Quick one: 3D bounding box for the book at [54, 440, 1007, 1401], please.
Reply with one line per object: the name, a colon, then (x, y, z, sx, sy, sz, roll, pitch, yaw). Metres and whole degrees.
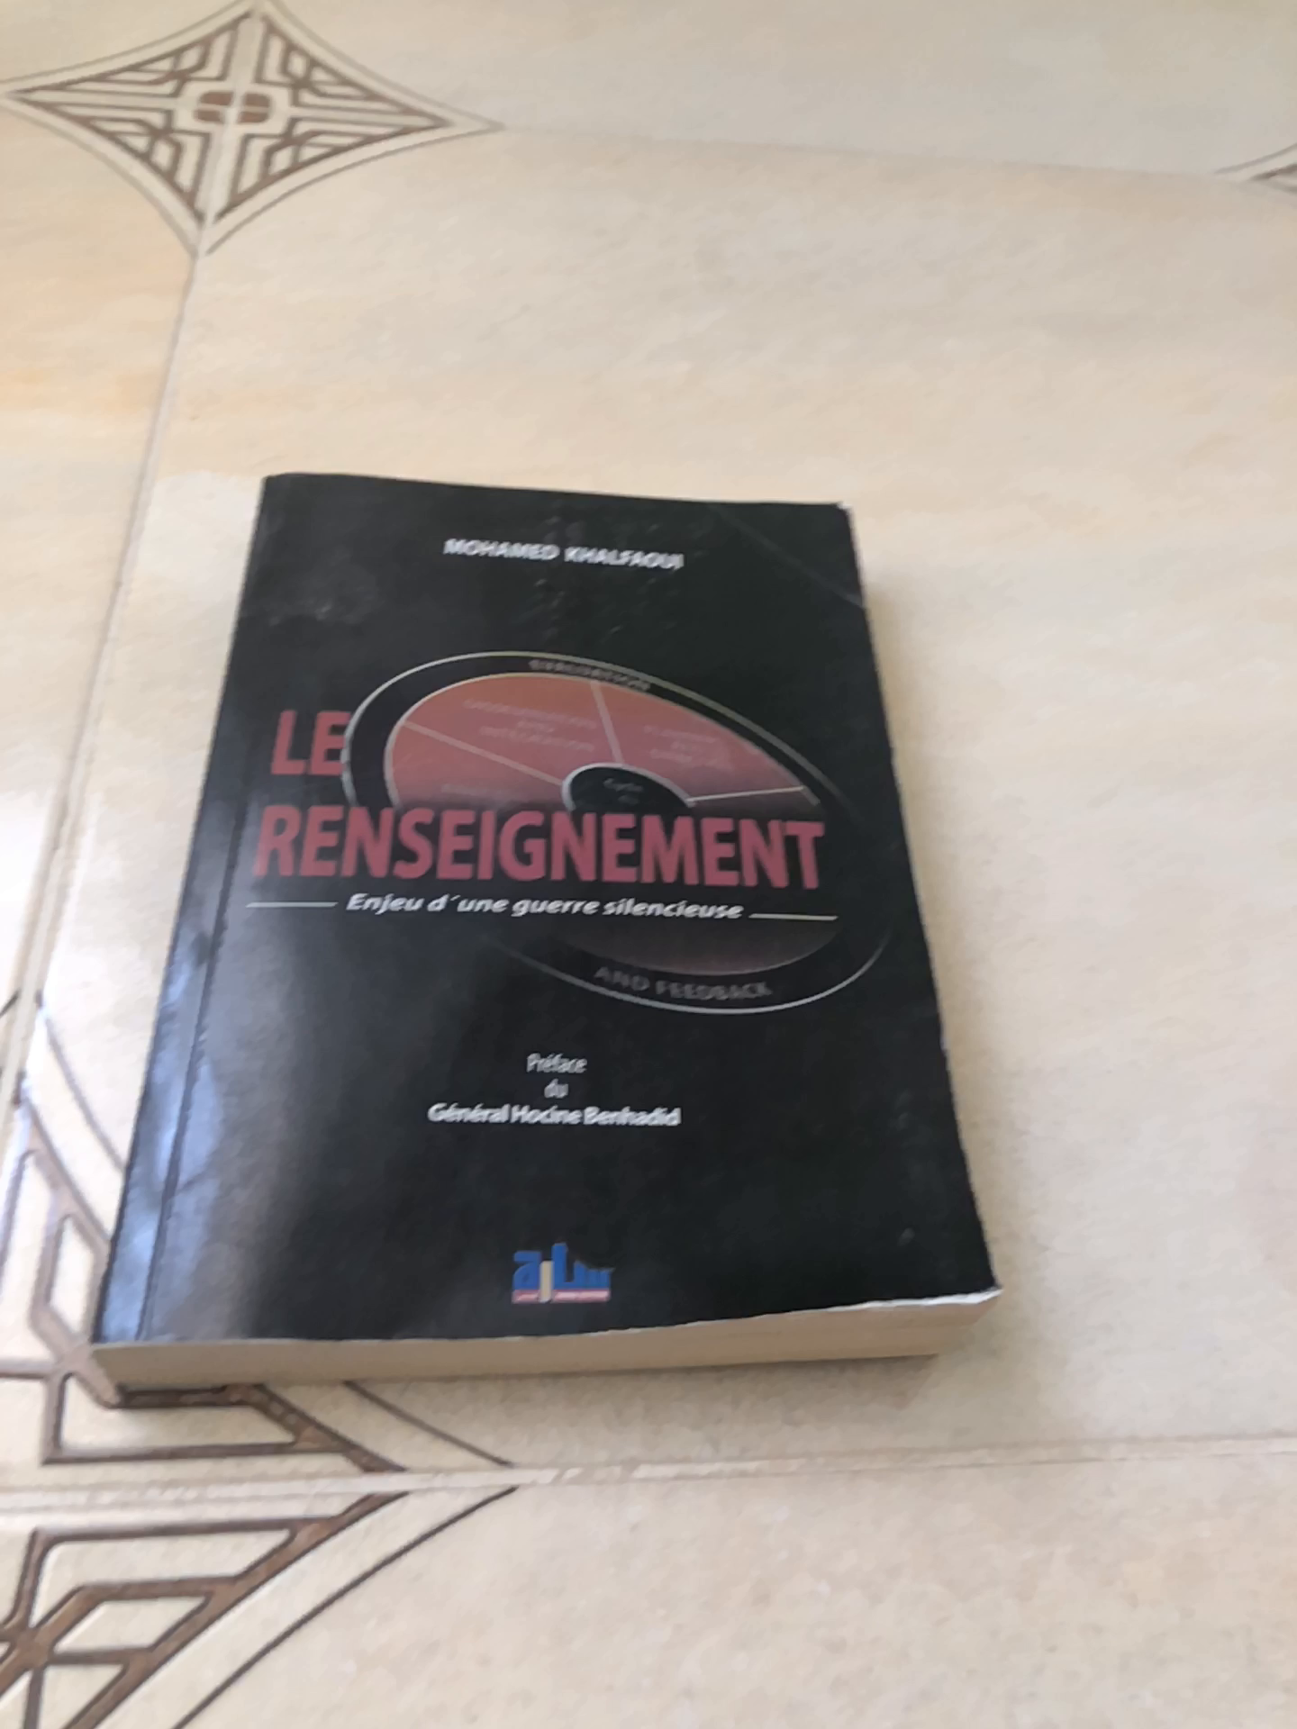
book: (-0.023, -0.001, 0.293, 0.146, 0.037, 0.201, 2, 55, -8)
